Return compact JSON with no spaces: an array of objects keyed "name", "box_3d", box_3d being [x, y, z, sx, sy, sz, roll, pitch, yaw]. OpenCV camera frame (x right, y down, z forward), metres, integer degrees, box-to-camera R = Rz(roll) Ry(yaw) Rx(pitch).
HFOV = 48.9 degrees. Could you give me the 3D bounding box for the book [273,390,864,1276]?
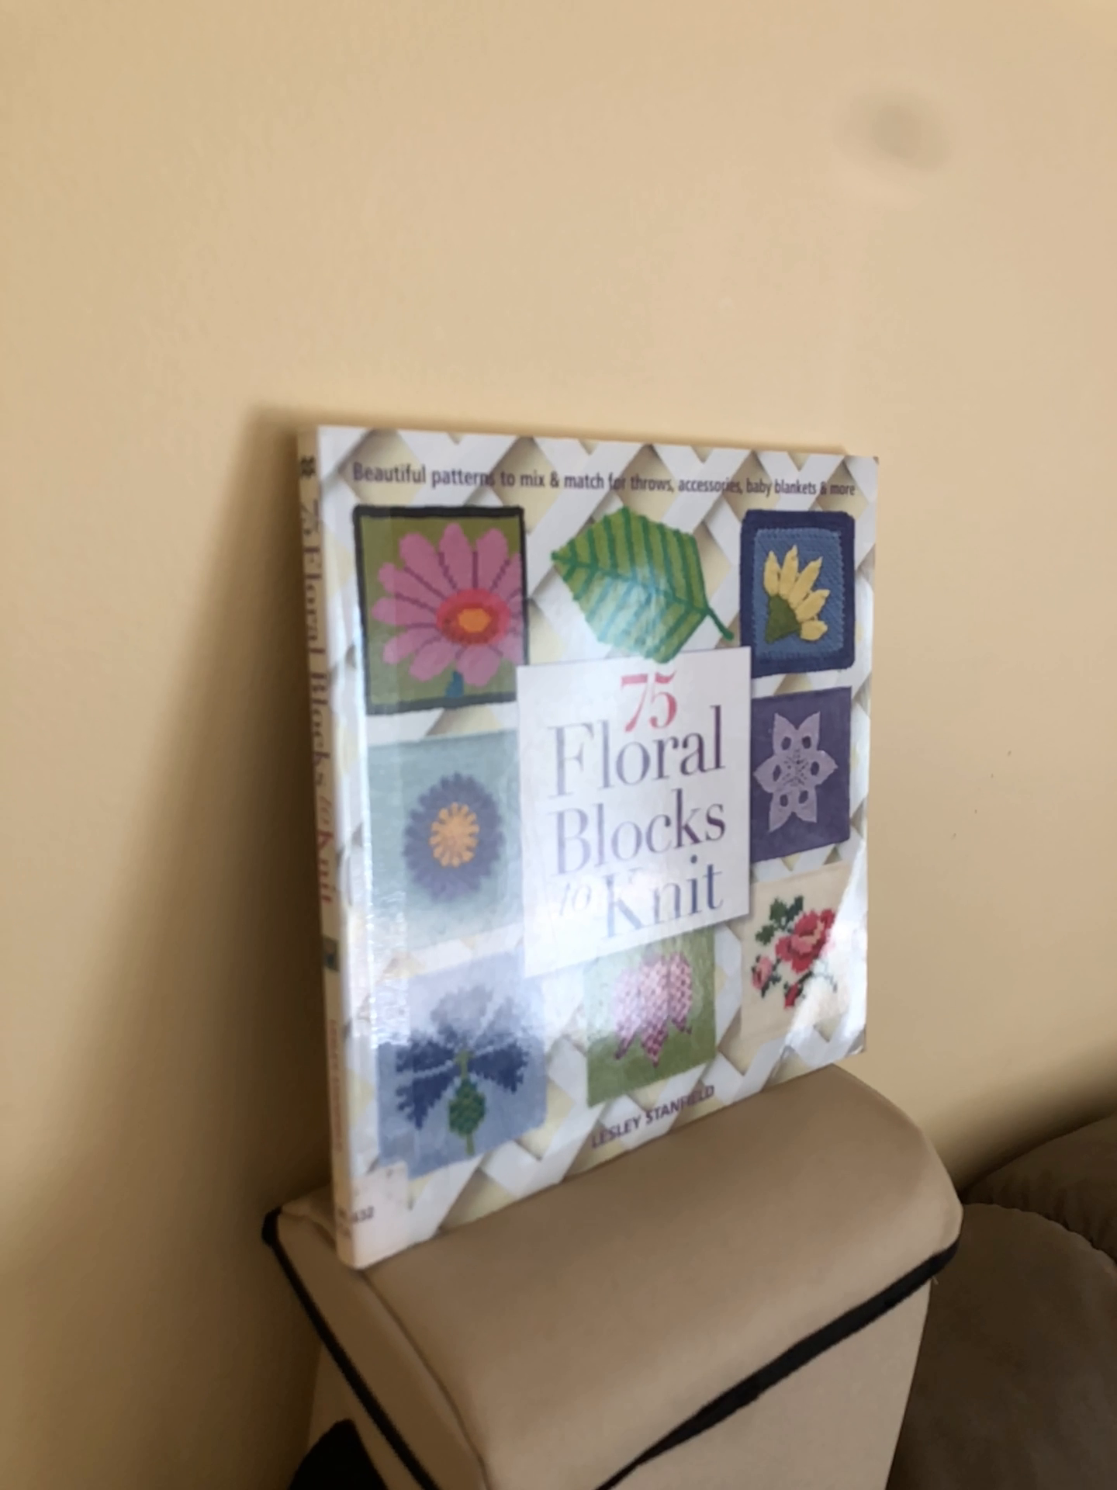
[{"name":"book","box_3d":[0.021,0.015,0.374,0.218,0.215,0.020,-7,8,-41]}]
